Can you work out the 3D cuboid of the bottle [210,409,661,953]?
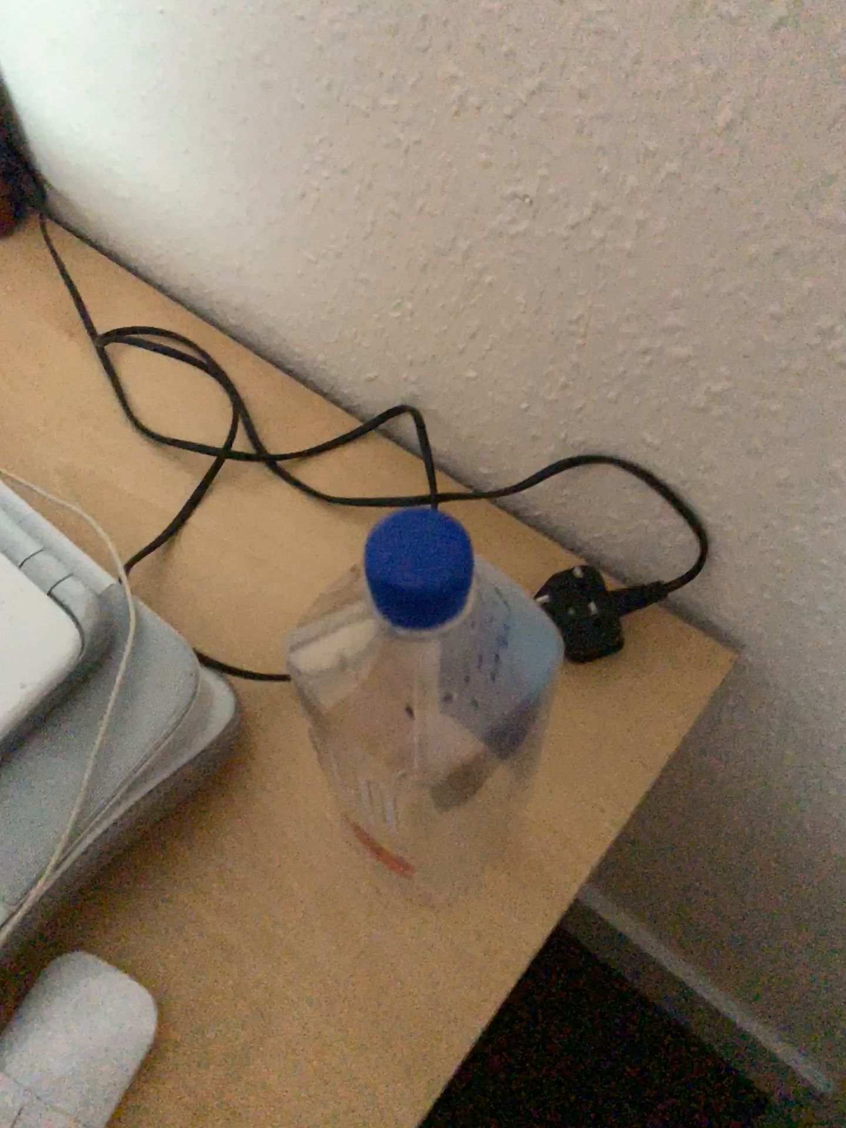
[{"bbox_3d":[0.002,0.060,0.318,0.090,0.208,0.080,36,63,21],"label":"bottle"}]
